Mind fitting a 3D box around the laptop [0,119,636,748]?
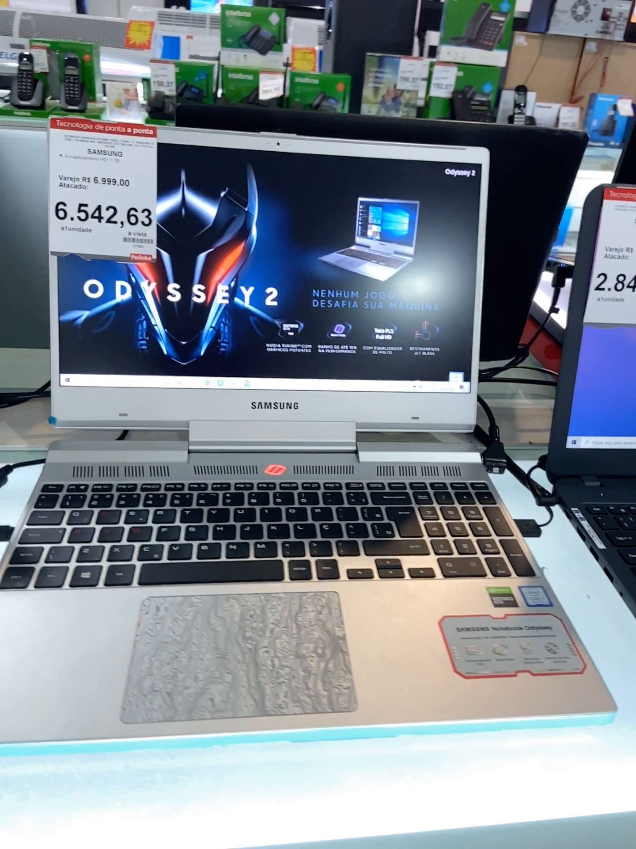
[{"bbox_3d":[-0.021,-0.041,0.427,0.353,0.225,0.370,1,31,-7],"label":"laptop"}]
